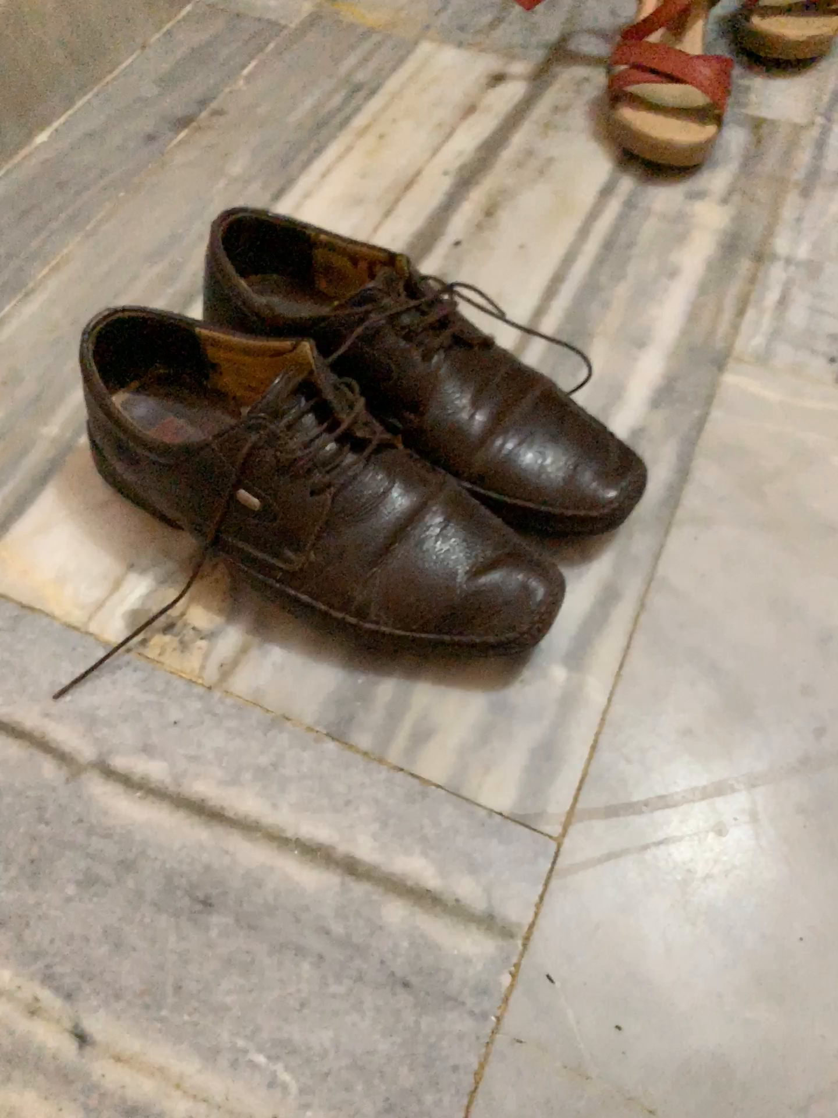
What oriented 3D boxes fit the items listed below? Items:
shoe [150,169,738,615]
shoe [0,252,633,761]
[{"bbox_3d":[0.007,-0.097,0.480,0.283,0.110,0.100,27,61,17],"label":"shoe"},{"bbox_3d":[-0.057,-0.031,0.429,0.283,0.110,0.100,27,61,17],"label":"shoe"}]
